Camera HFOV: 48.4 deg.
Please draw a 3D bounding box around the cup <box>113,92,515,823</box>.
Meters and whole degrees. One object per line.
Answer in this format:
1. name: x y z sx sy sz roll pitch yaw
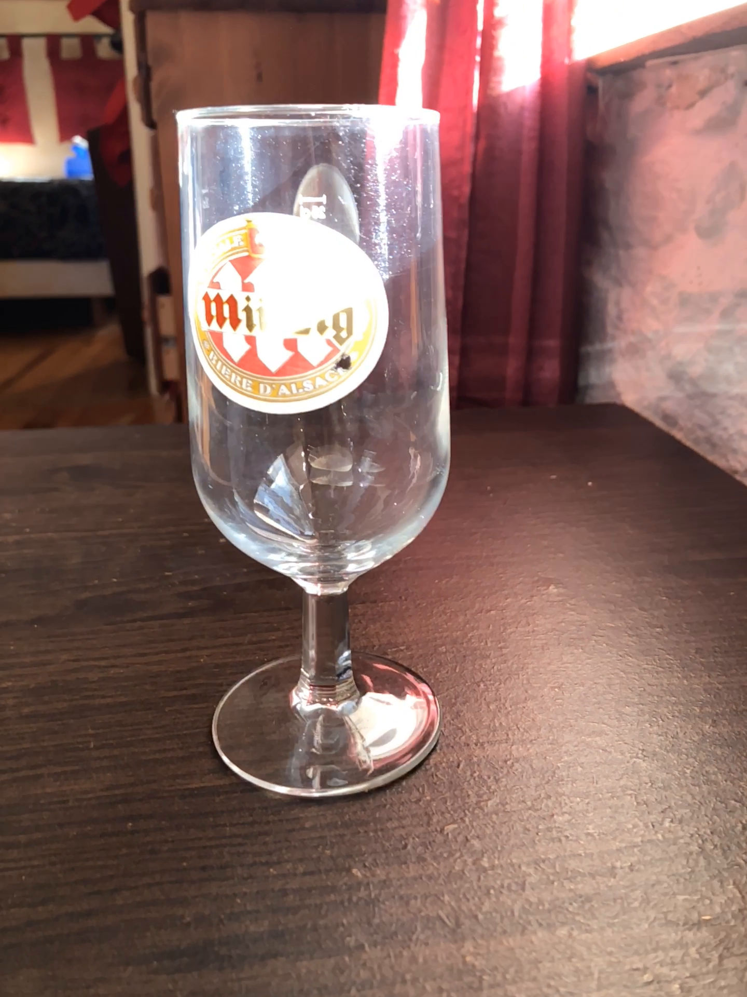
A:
1. cup: -0.009 -0.012 0.210 0.067 0.155 0.070 1 20 0
